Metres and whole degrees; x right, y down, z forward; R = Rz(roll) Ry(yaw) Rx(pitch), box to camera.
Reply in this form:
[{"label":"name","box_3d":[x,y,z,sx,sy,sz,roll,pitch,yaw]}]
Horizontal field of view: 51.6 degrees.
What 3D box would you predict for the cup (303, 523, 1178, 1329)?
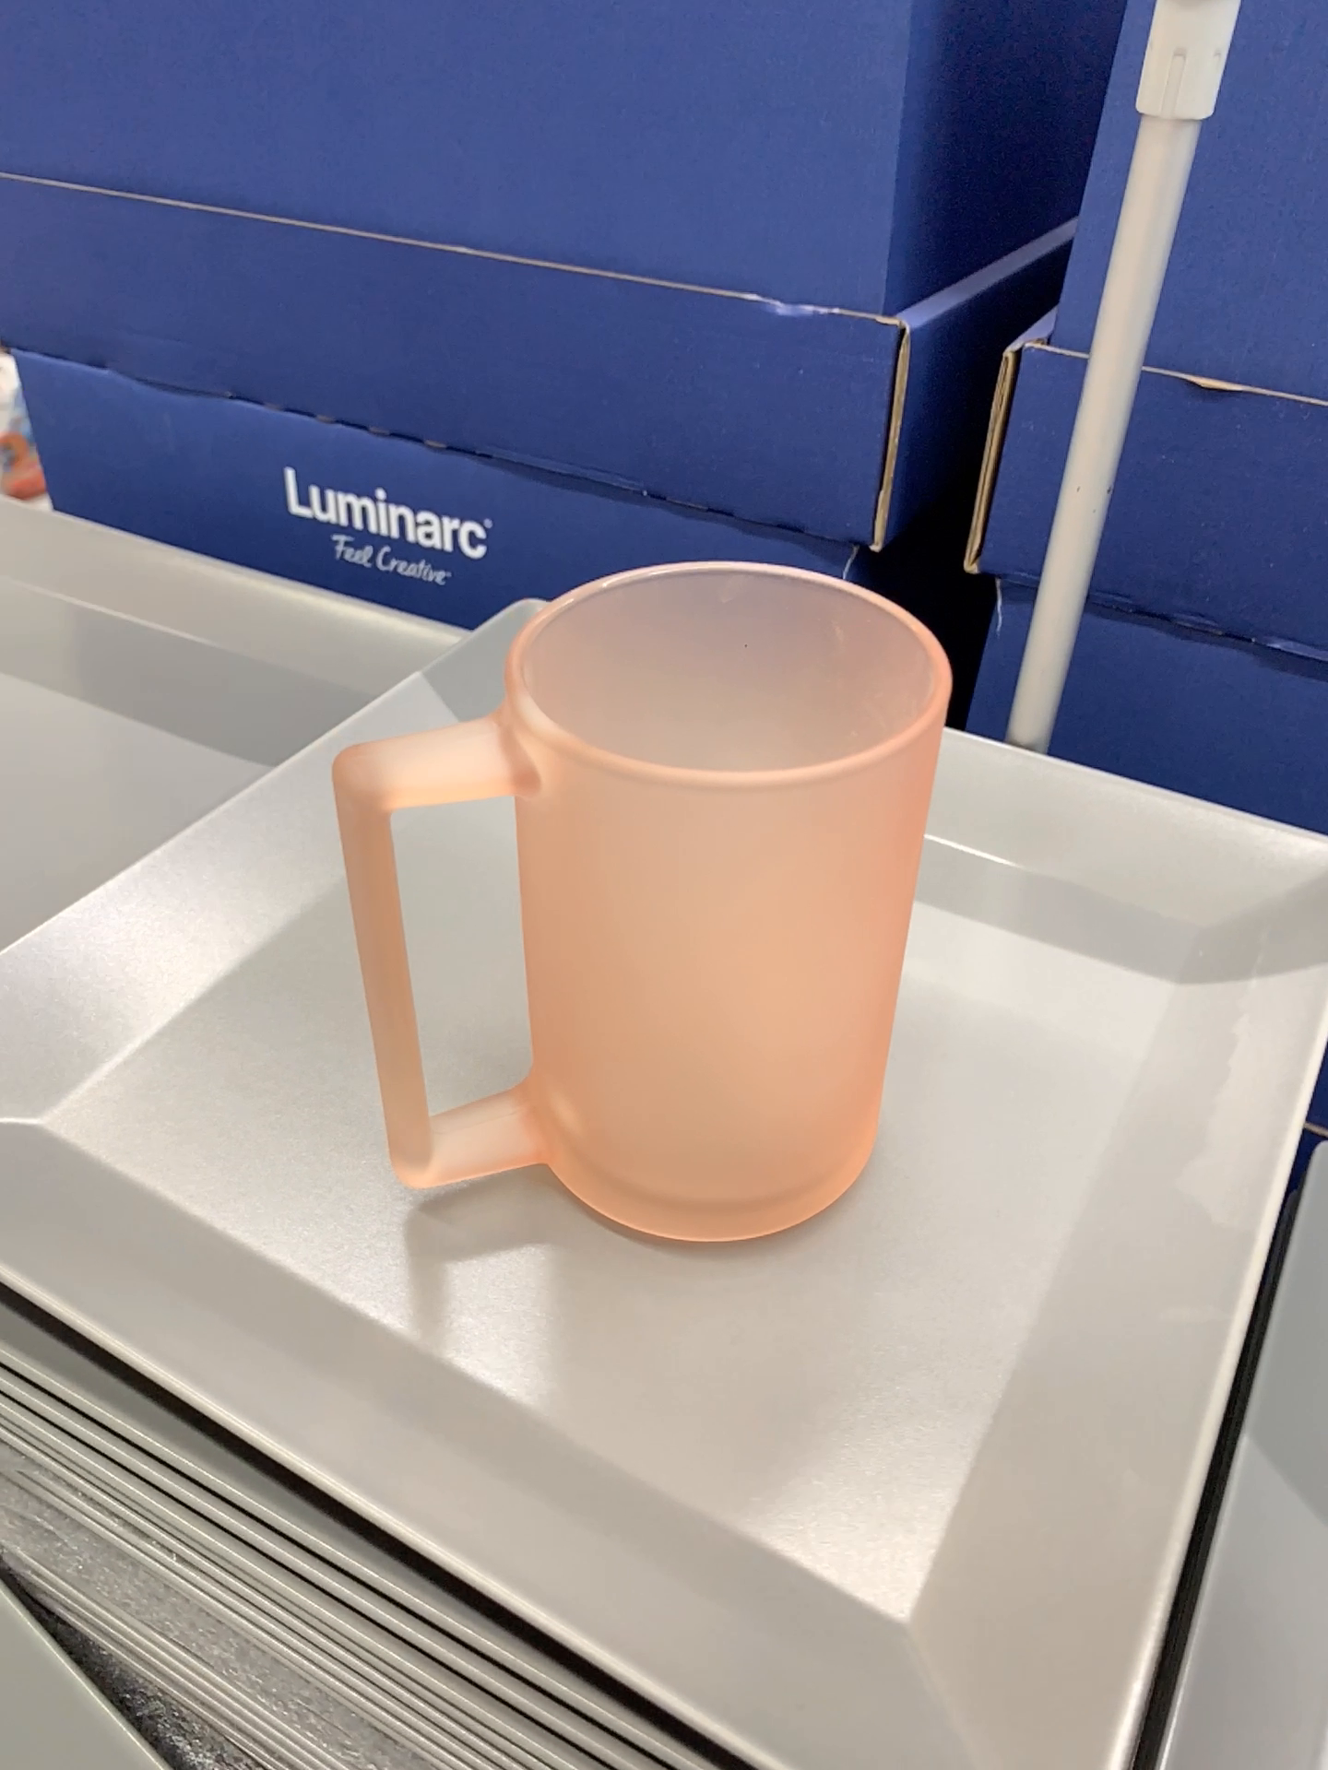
[{"label":"cup","box_3d":[0.004,0.001,0.253,0.120,0.095,0.095,-8,37,-14]}]
